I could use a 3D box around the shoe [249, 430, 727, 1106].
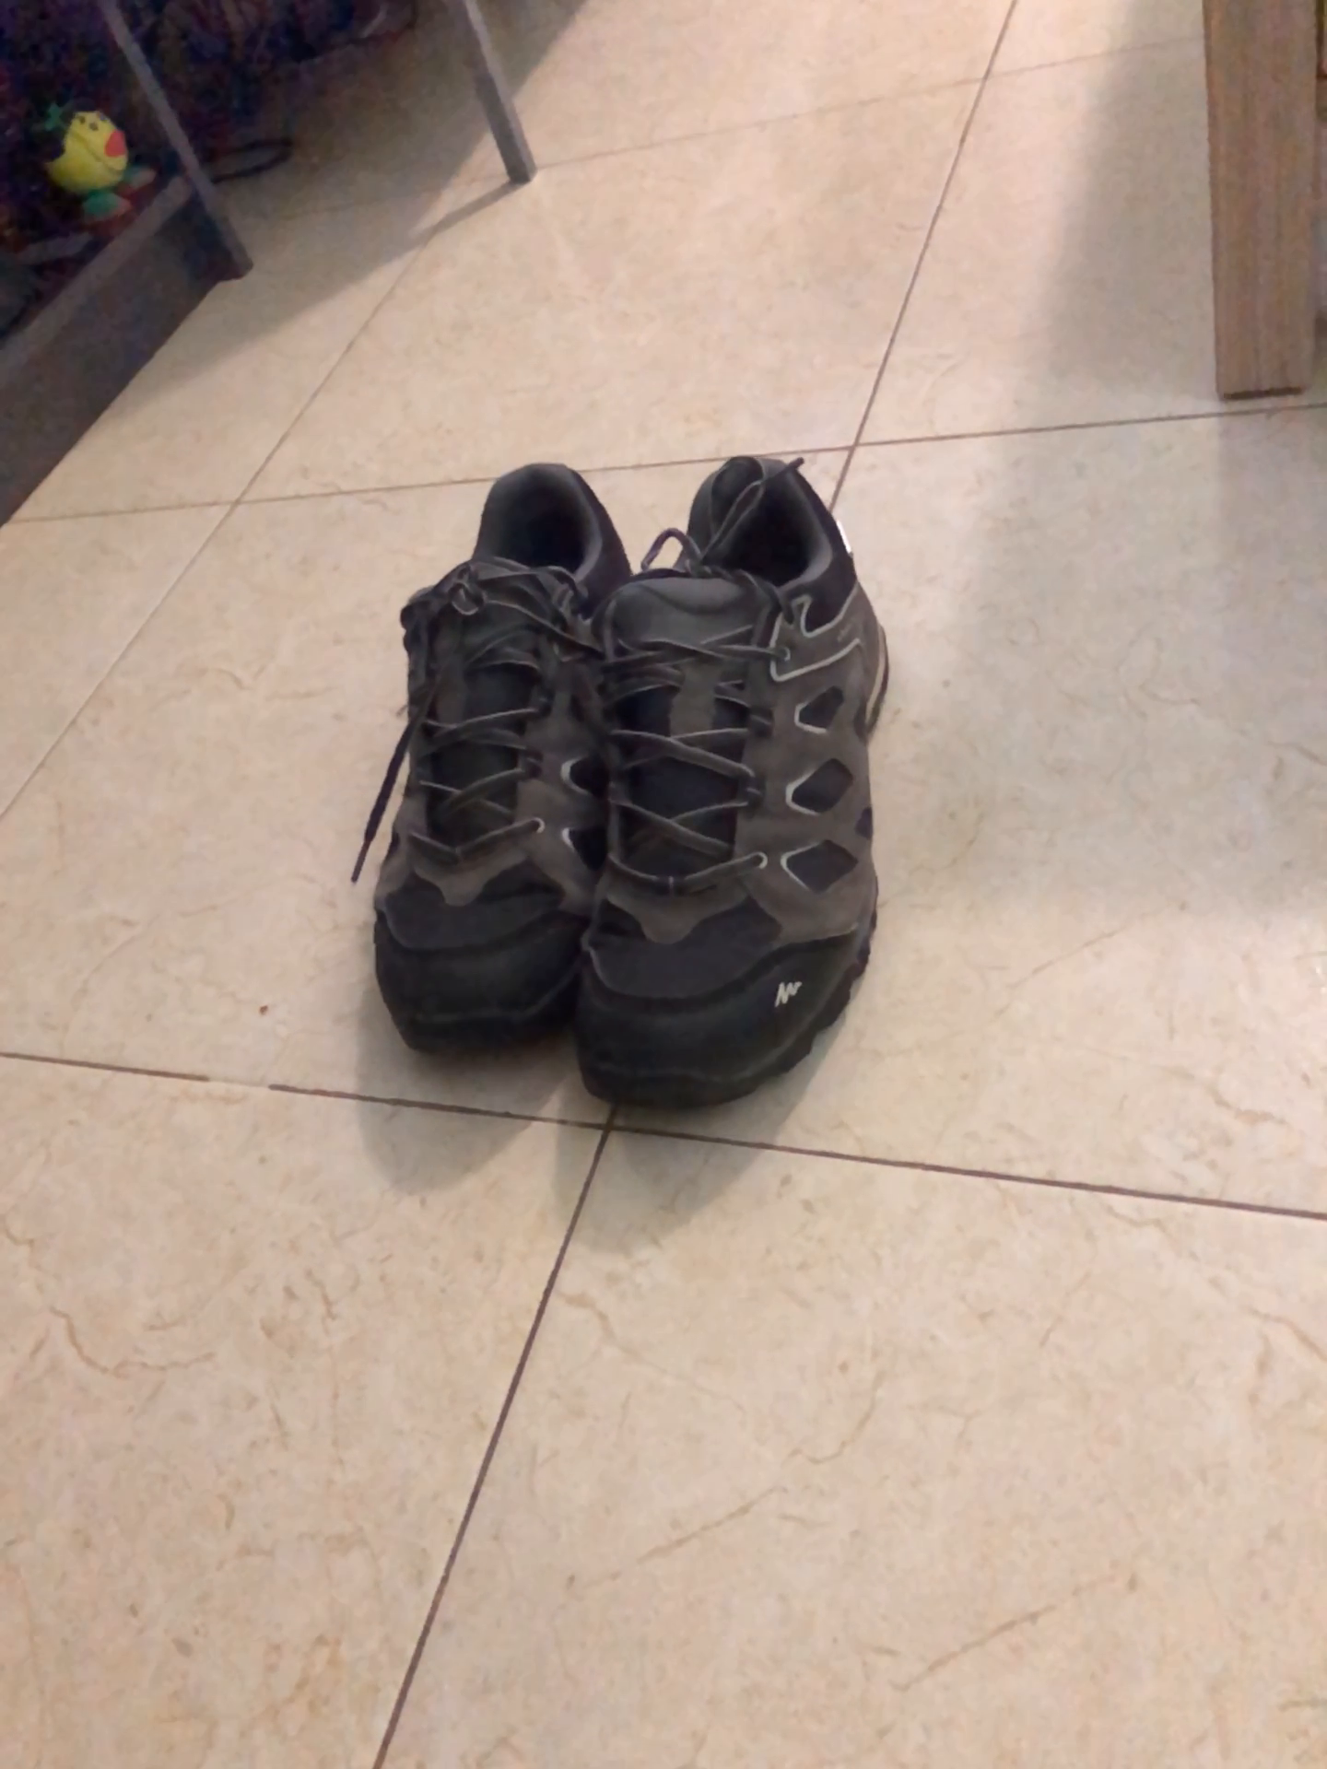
[{"bbox_3d":[-0.061,-0.063,0.674,0.120,0.110,0.311,-5,48,19],"label":"shoe"}]

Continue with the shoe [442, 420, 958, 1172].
[{"bbox_3d":[0.034,-0.049,0.612,0.120,0.110,0.311,0,50,23],"label":"shoe"}]
